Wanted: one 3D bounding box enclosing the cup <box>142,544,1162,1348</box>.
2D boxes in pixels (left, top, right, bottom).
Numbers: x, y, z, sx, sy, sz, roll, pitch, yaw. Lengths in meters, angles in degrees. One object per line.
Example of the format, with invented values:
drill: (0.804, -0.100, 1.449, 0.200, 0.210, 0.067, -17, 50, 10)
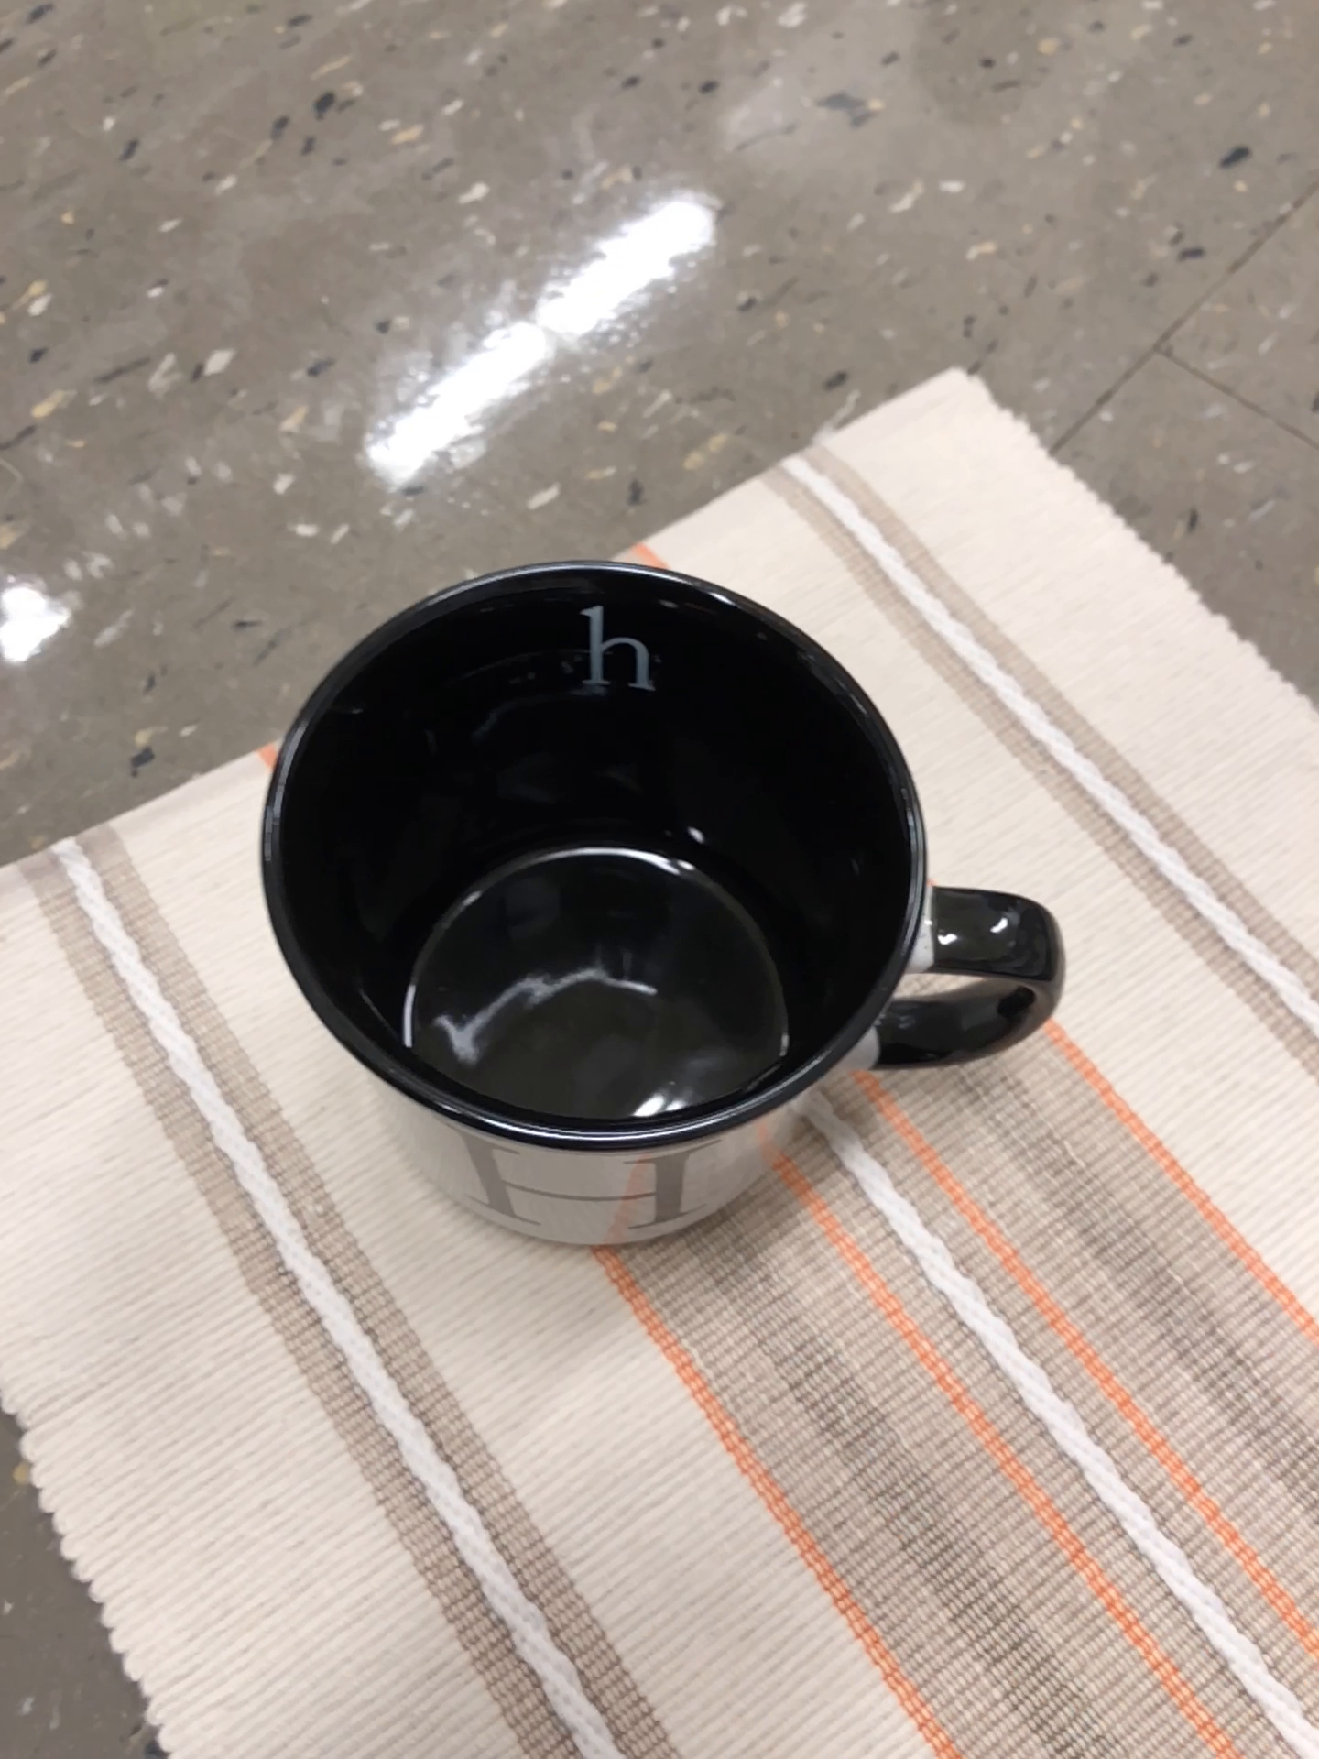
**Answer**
cup: (0.002, 0.018, 0.269, 0.140, 0.100, 0.100, 6, 64, 1)
